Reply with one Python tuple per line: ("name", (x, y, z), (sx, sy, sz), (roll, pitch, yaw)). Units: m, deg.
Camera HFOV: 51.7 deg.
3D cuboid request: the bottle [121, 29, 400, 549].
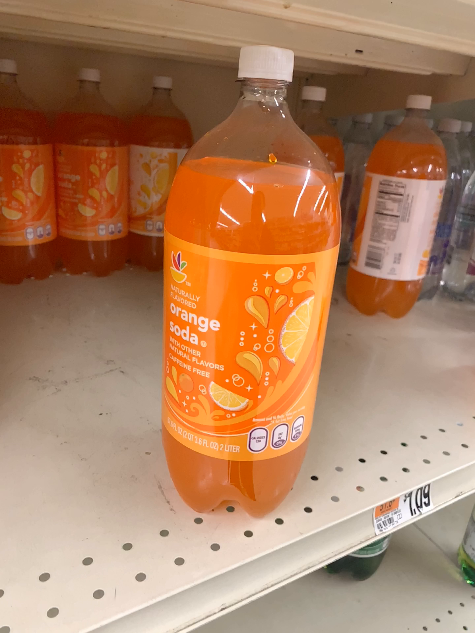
("bottle", (0.006, -0.017, 0.329), (0.110, 0.289, 0.120), (5, 24, -2))
